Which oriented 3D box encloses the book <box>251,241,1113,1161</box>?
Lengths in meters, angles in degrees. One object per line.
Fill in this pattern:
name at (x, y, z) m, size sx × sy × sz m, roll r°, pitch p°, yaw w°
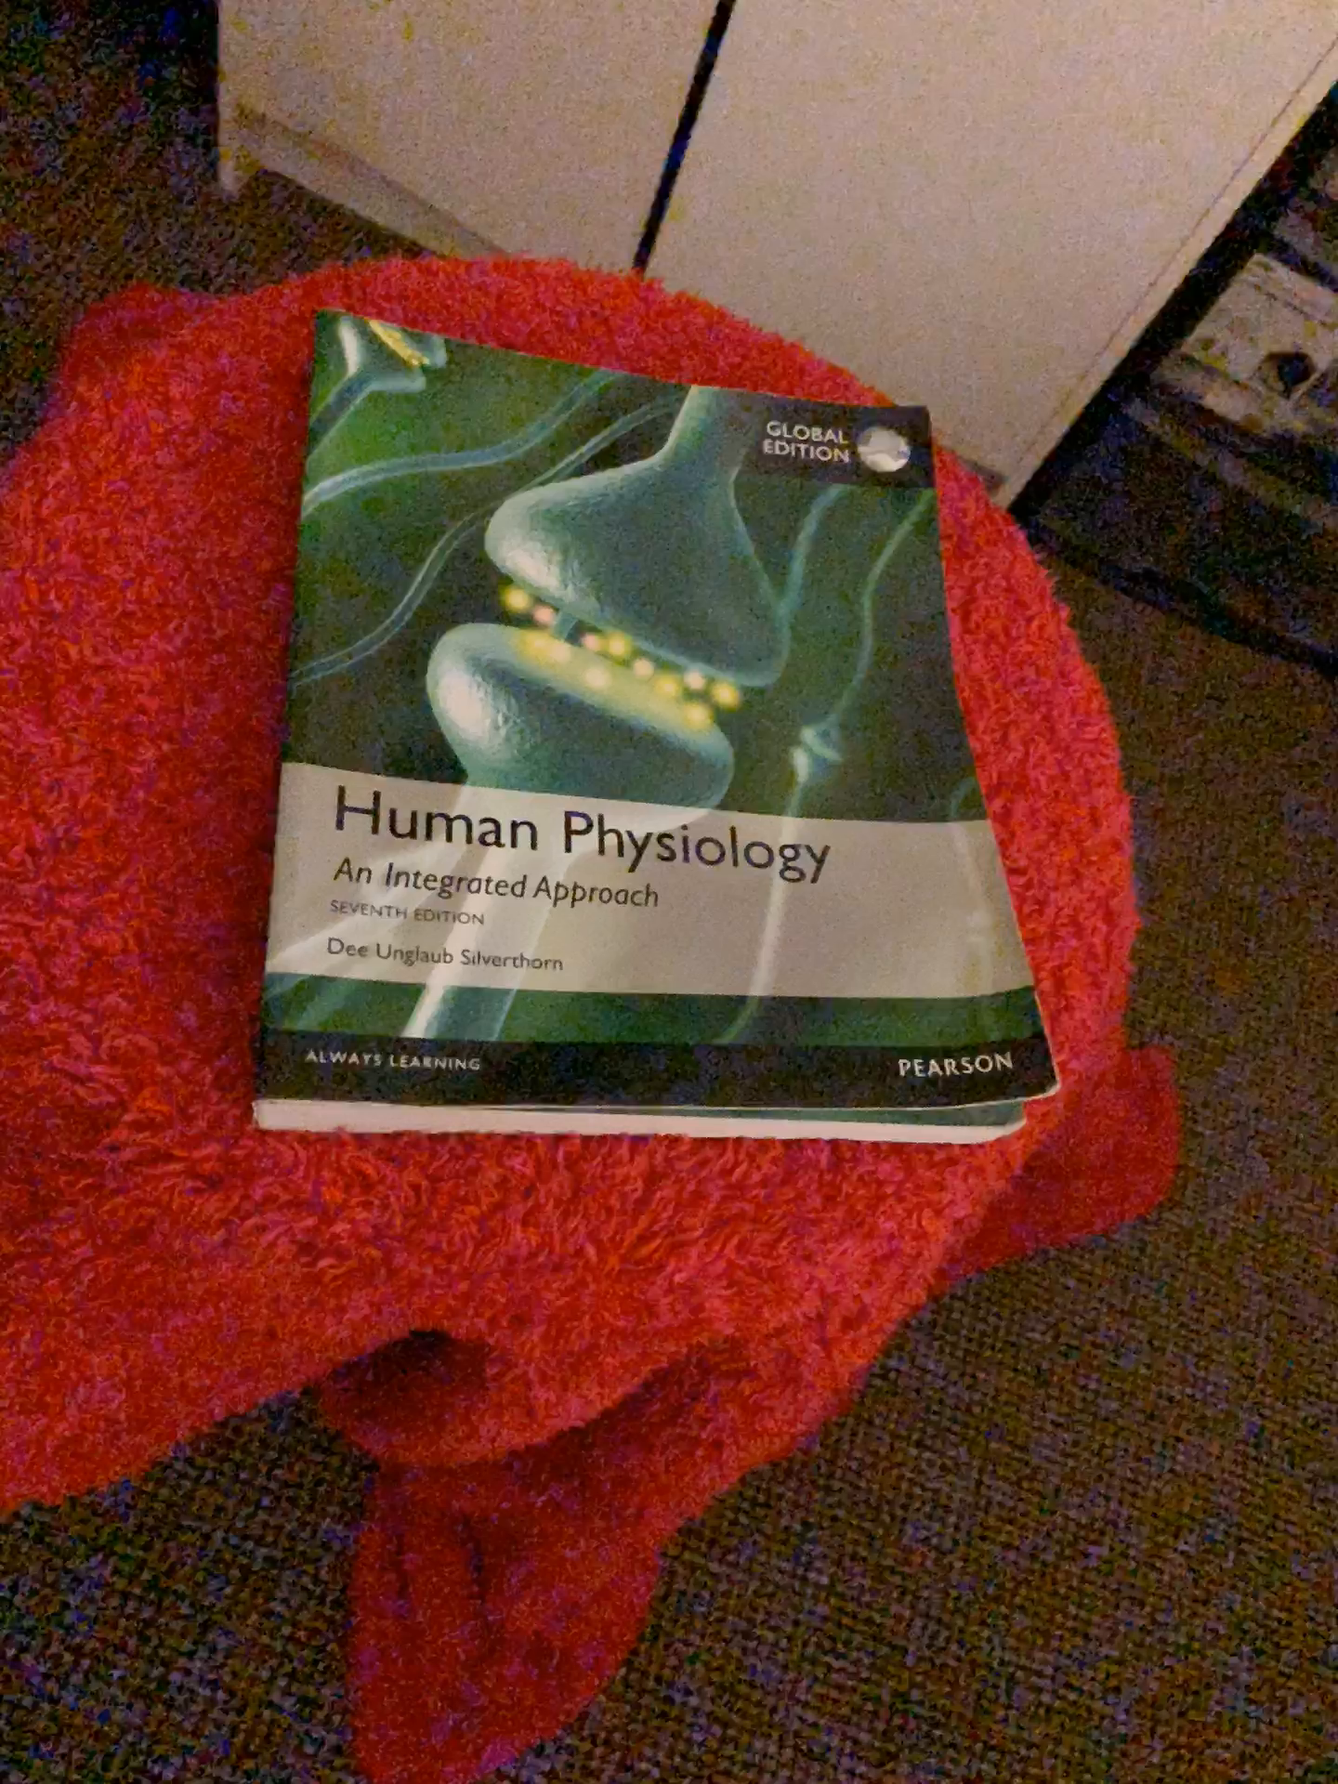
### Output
book at (-0.002, -0.066, 0.477) m, size 0.250 × 0.070 × 0.302 m, roll 4°, pitch 64°, yaw -16°
